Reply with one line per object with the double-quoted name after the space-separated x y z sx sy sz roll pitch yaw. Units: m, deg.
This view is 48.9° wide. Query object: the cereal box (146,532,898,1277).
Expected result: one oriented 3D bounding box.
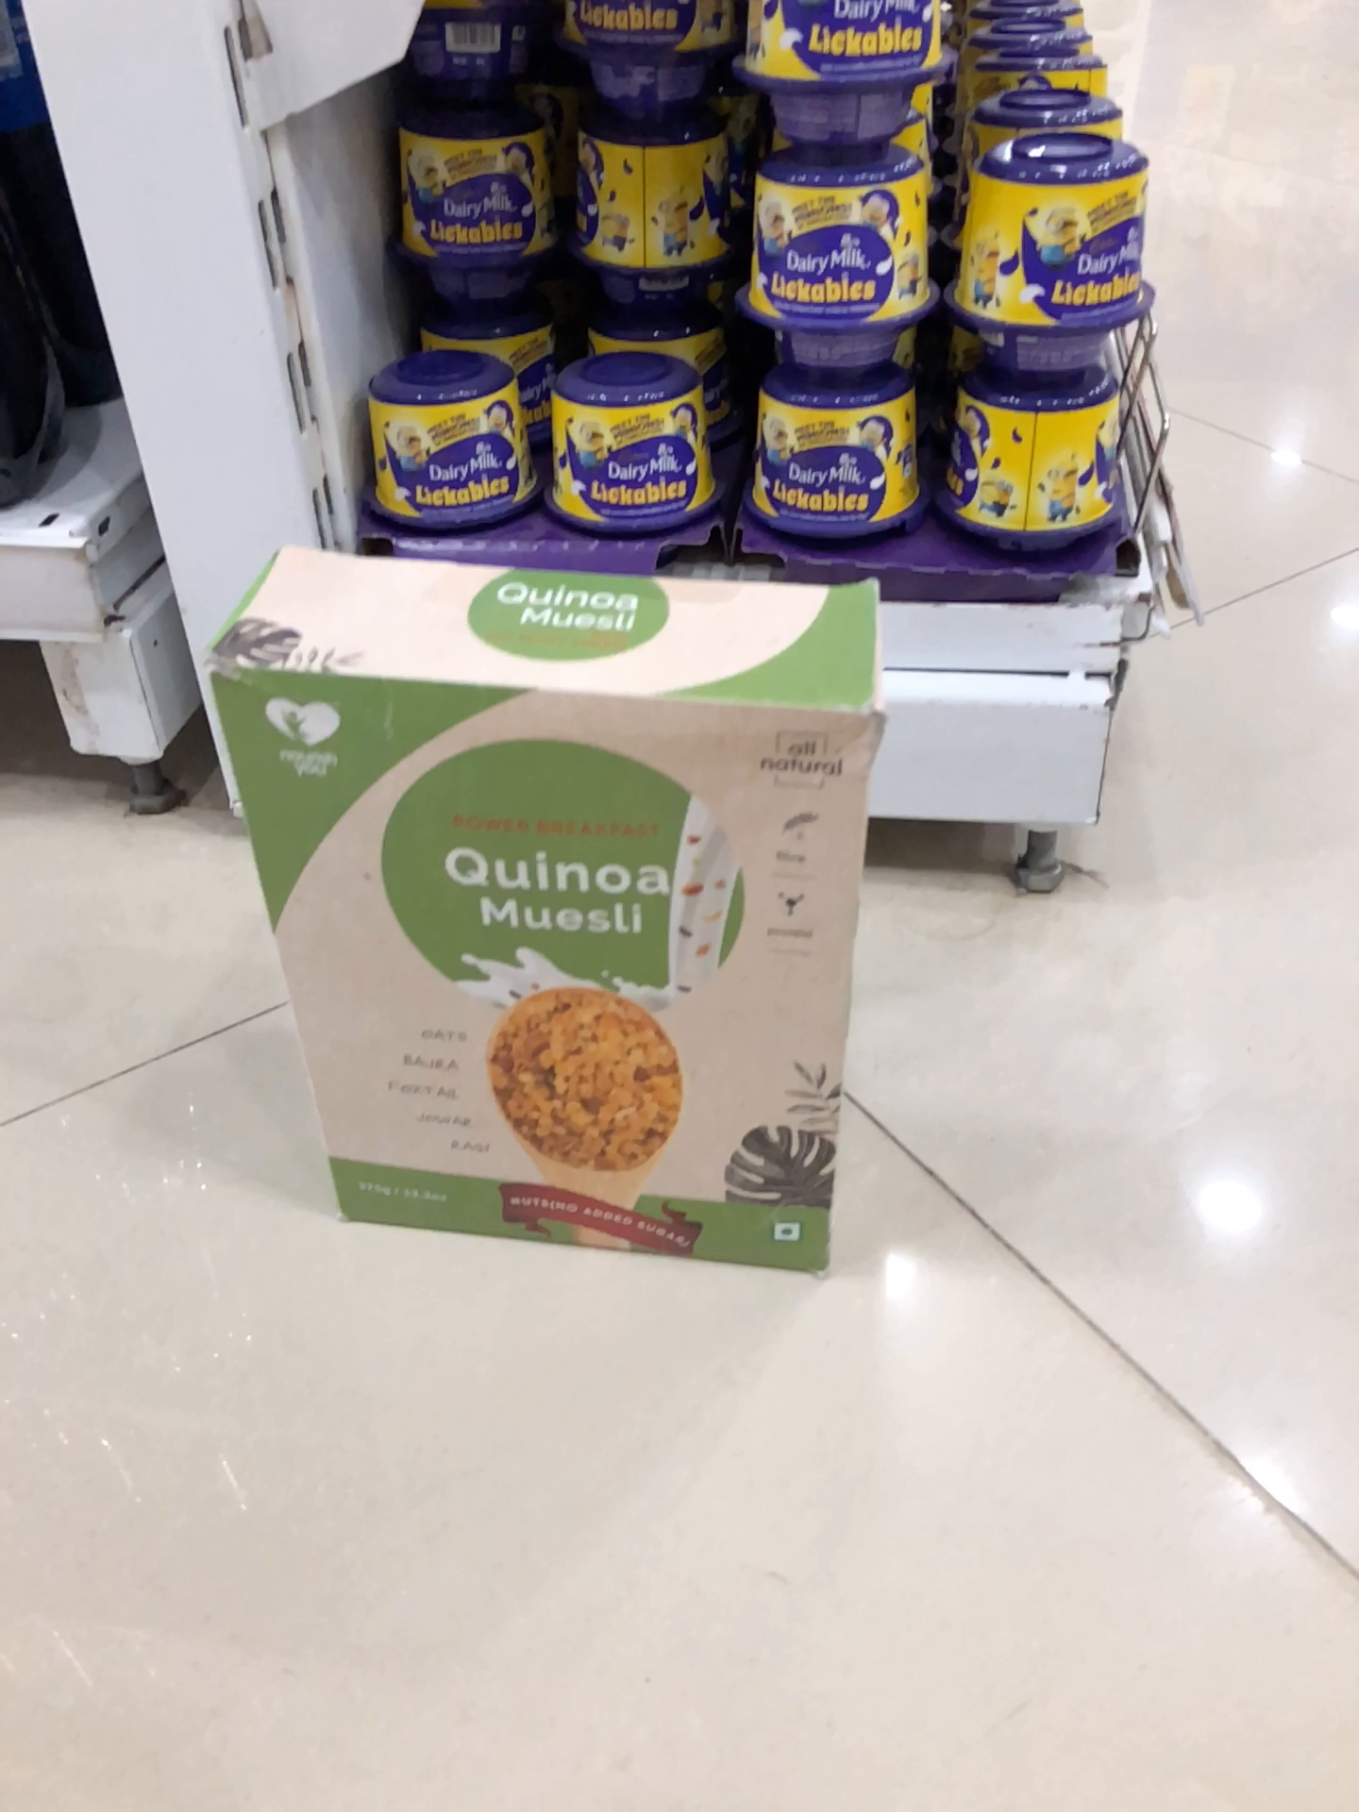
-0.031 0.006 0.396 0.160 0.189 0.060 4 39 7 "cereal box"
